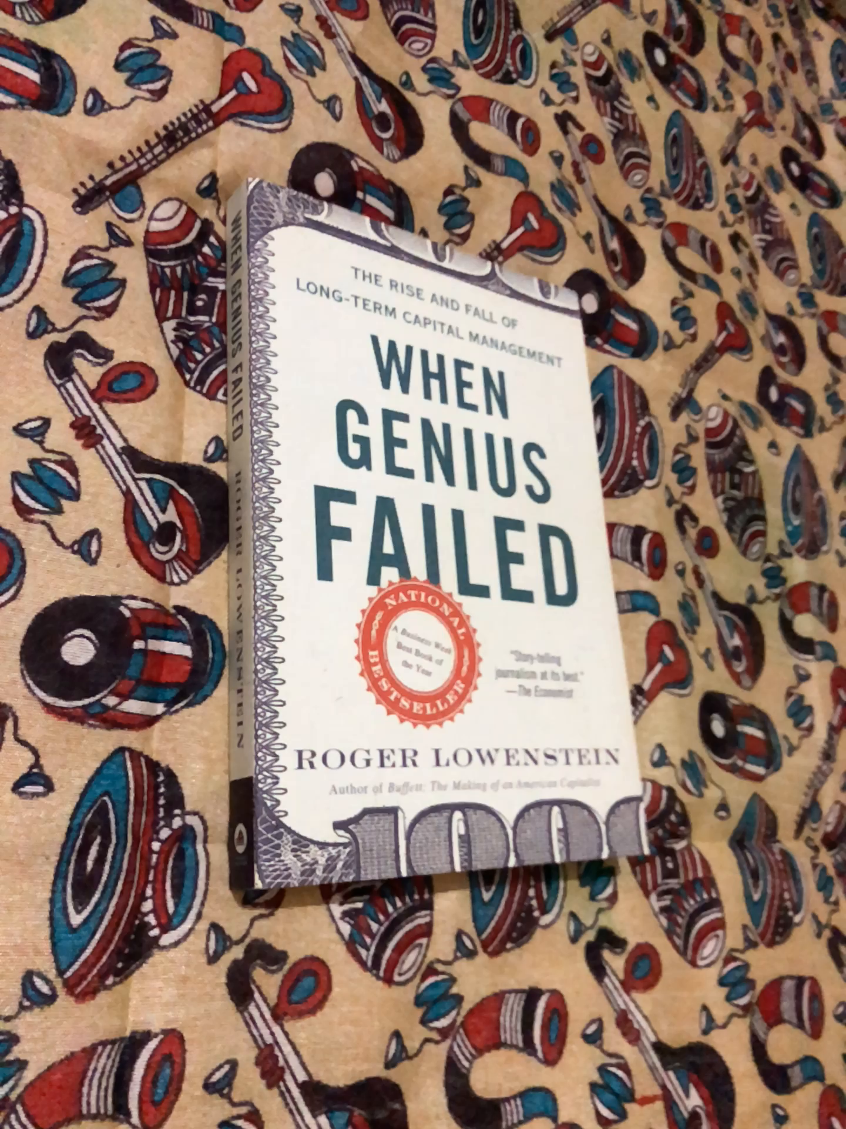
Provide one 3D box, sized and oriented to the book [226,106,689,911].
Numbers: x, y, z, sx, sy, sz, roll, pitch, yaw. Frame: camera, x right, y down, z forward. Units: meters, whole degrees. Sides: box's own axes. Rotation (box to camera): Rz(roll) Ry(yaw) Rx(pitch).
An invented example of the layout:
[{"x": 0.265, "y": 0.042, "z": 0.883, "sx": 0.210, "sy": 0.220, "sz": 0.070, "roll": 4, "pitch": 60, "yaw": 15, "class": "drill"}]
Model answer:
[{"x": 0.011, "y": -0.015, "z": 0.296, "sx": 0.141, "sy": 0.030, "sz": 0.220, "roll": 9, "pitch": 70, "yaw": -35, "class": "book"}]
